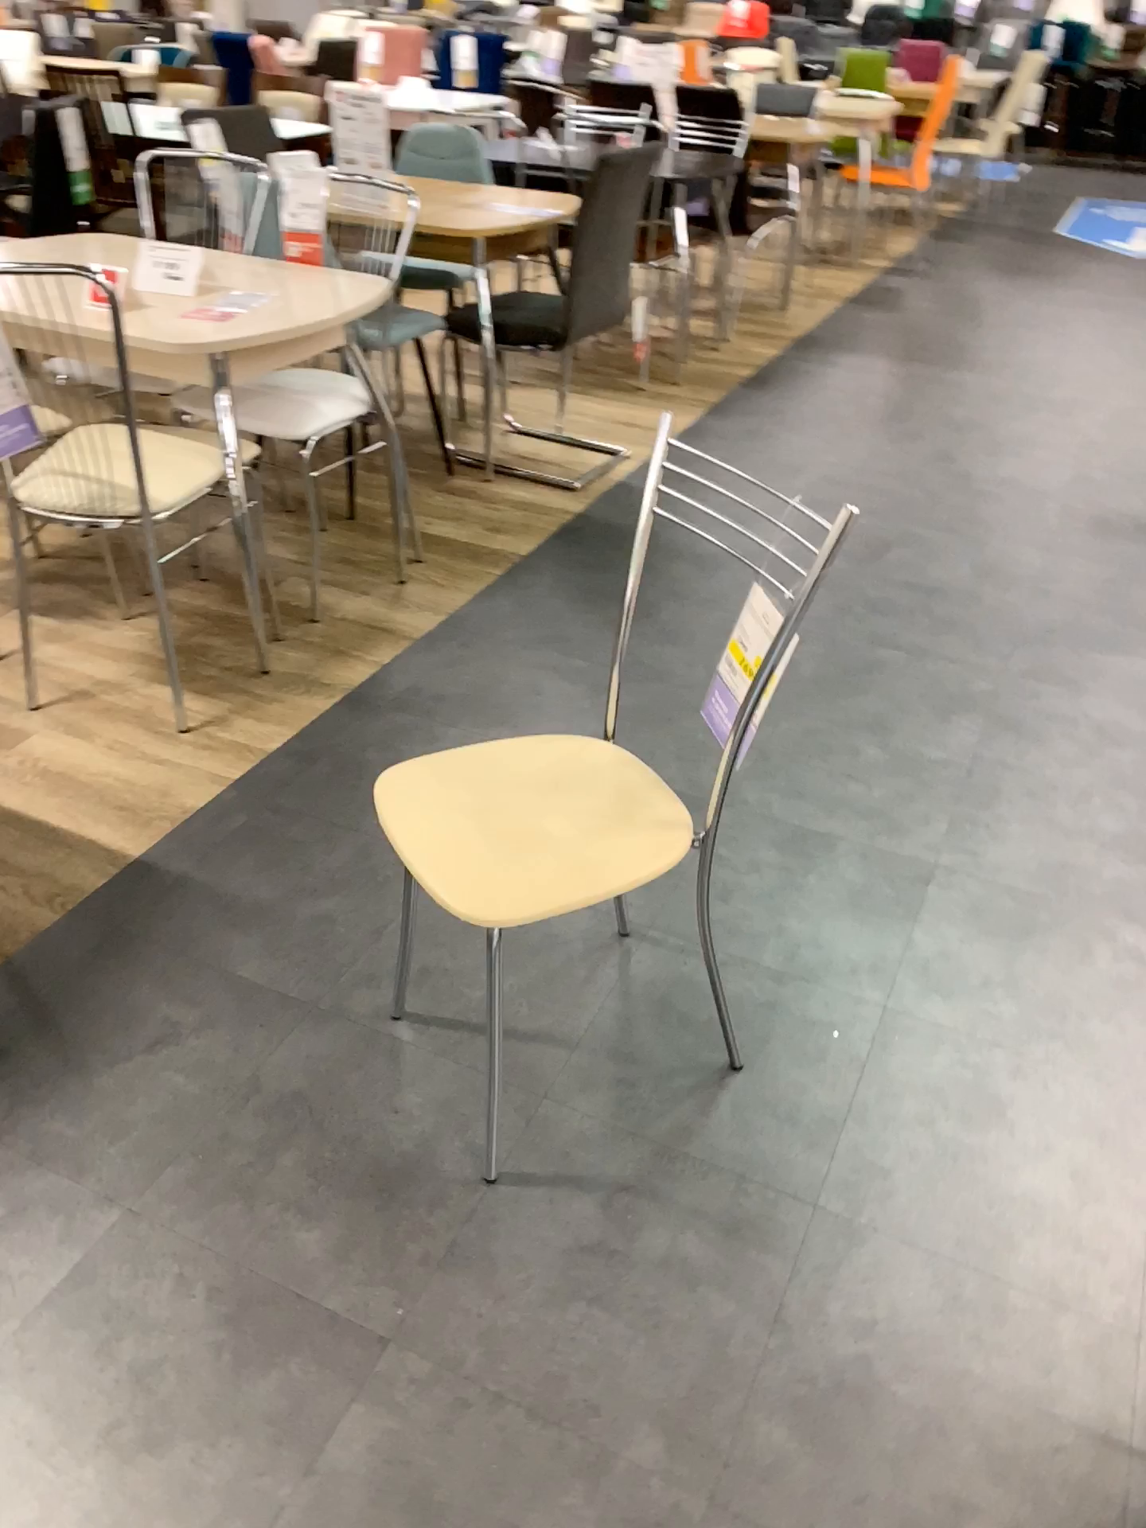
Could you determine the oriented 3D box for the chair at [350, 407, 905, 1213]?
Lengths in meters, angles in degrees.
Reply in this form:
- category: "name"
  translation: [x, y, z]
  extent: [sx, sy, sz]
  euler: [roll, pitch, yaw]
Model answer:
- category: "chair"
  translation: [0.036, 0.062, 1.566]
  extent: [0.481, 0.905, 0.412]
  euler: [-16, 38, -25]
